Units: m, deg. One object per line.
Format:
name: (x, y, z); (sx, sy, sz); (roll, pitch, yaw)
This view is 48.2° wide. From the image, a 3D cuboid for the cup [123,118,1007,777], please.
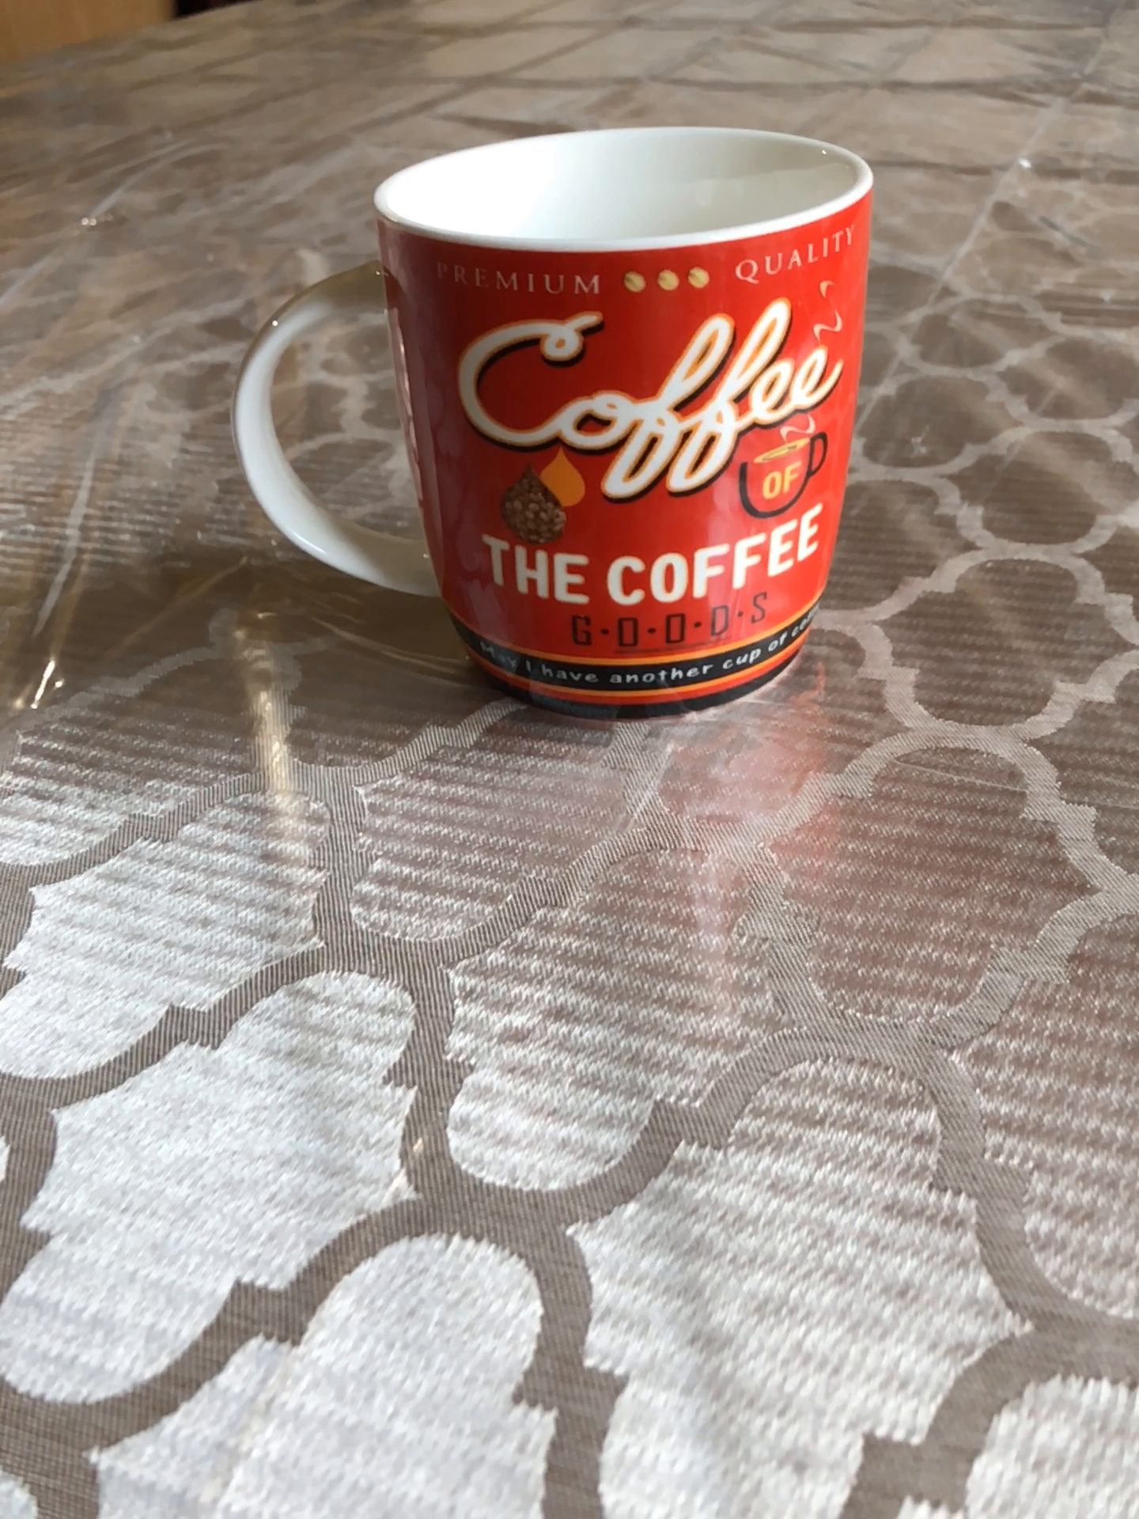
cup: (-0.004, -0.071, 0.258); (0.130, 0.080, 0.121); (-2, 35, 2)
